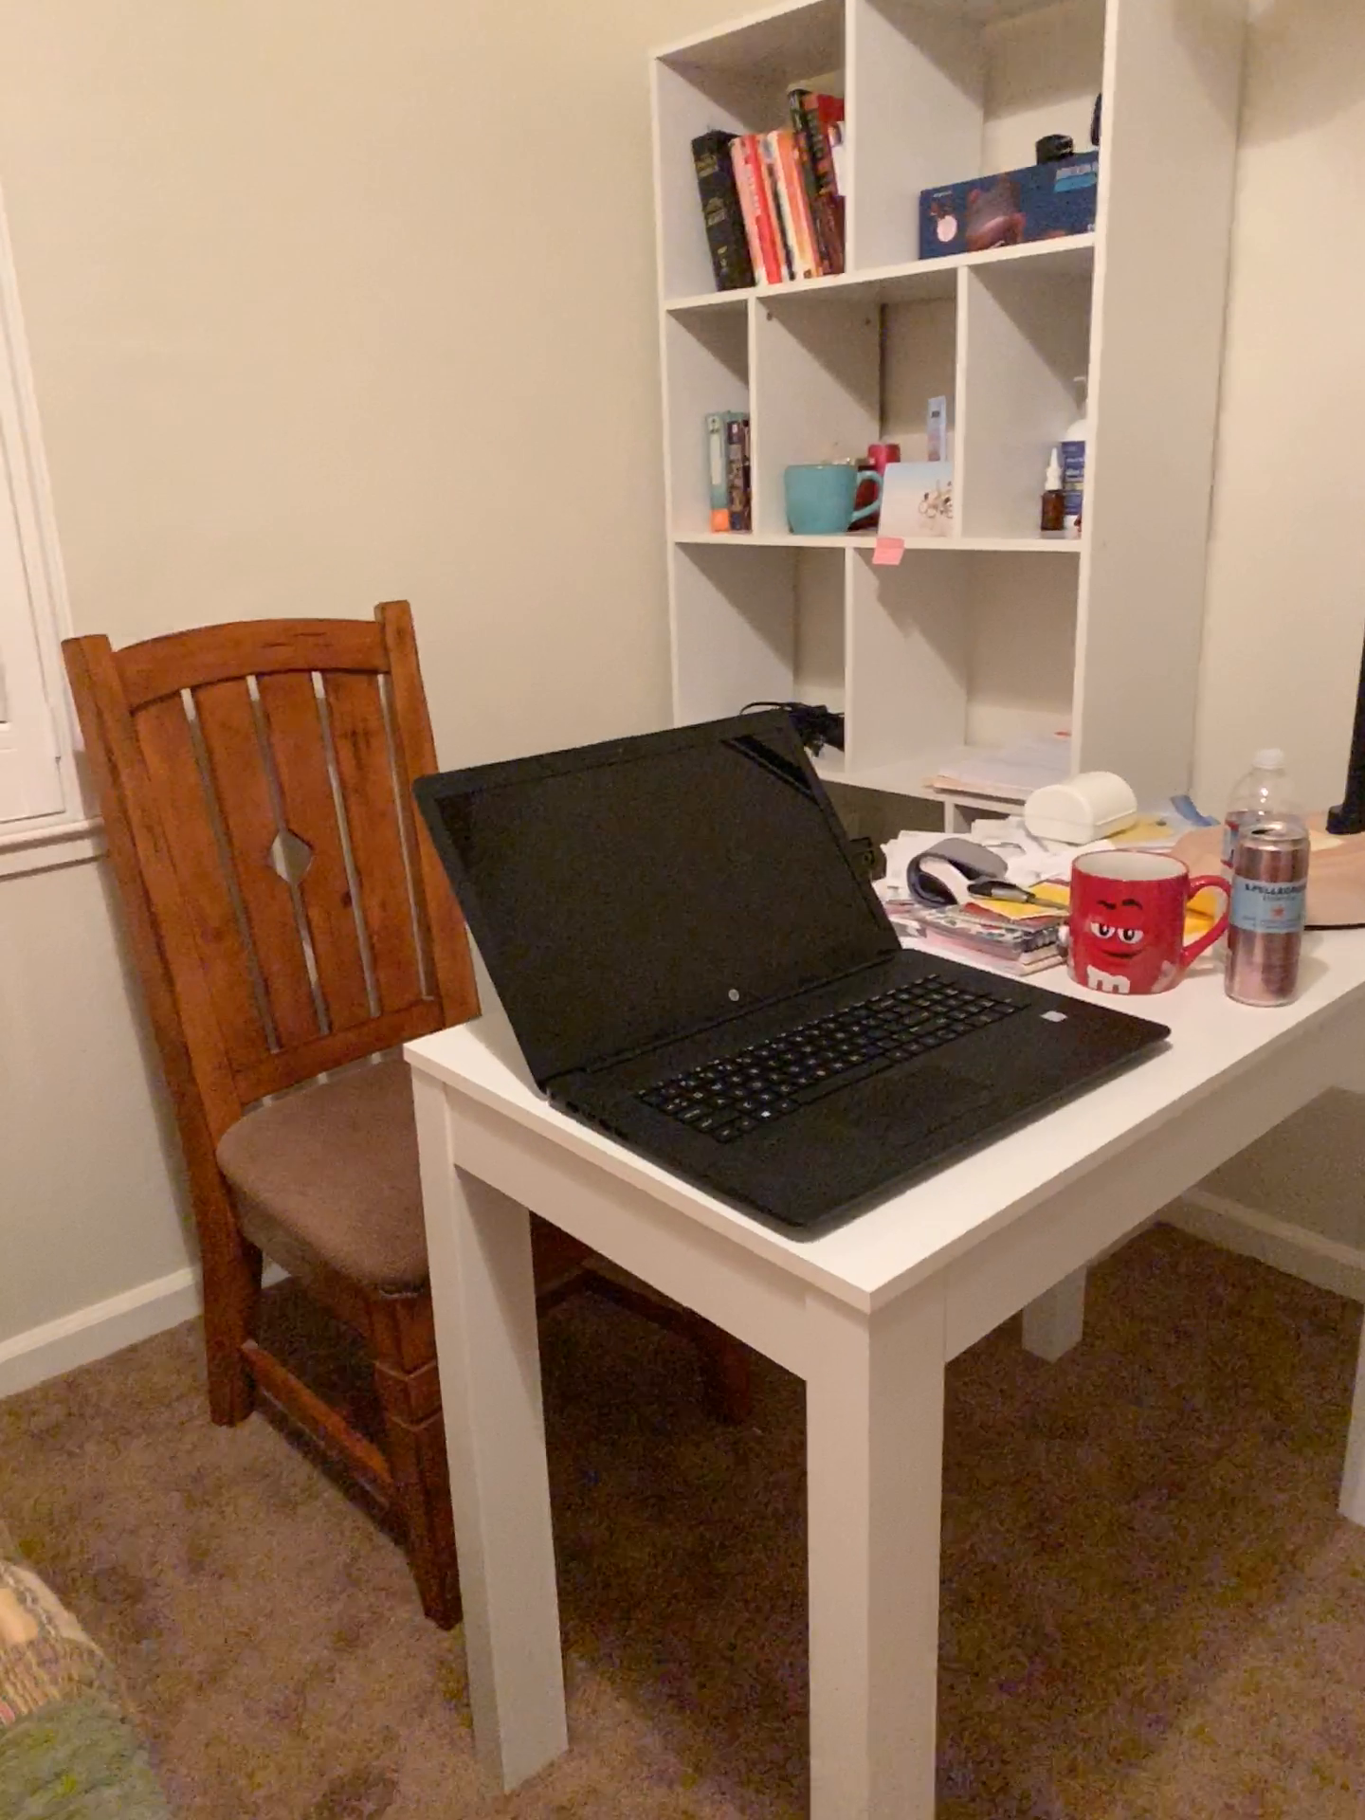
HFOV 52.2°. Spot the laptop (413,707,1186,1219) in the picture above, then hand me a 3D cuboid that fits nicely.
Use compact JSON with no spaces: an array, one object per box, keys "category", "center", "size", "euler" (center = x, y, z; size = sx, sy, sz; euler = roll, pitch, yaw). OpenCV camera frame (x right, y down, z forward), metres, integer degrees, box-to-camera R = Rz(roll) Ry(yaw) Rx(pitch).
[{"category":"laptop","center":[0.083,-0.004,1.072],"size":[0.401,0.197,0.417],"euler":[-17,23,-38]}]
